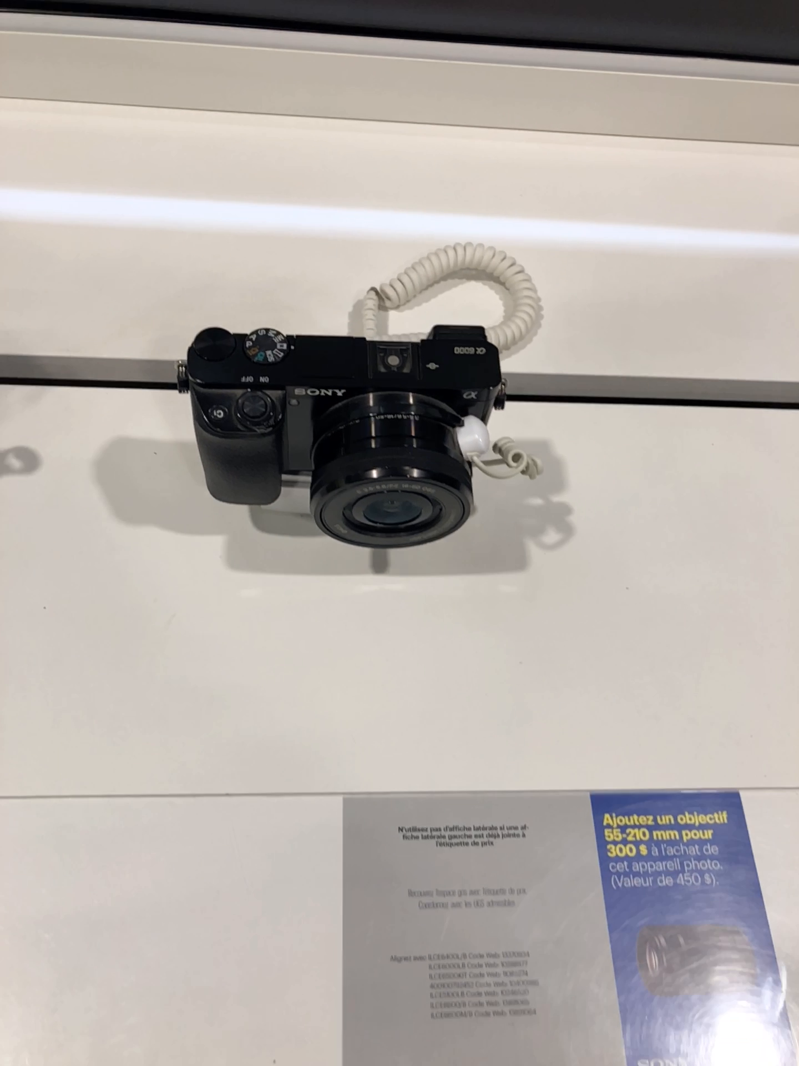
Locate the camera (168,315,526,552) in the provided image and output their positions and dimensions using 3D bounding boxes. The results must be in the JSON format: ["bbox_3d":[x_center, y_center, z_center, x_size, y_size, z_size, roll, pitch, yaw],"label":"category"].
[{"bbox_3d":[-0.022,-0.040,0.372,0.130,0.077,0.065,-1,61,-5],"label":"camera"}]
